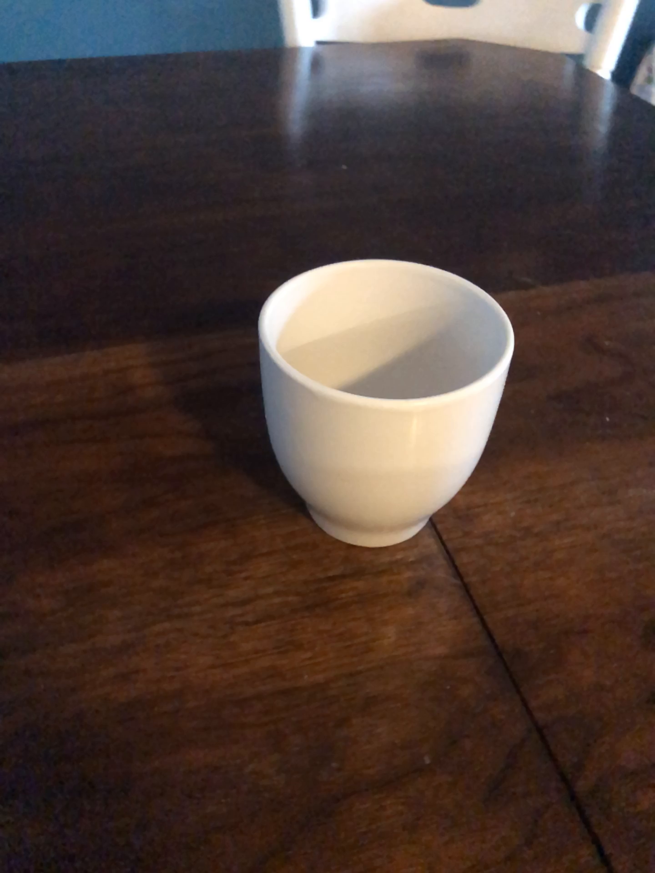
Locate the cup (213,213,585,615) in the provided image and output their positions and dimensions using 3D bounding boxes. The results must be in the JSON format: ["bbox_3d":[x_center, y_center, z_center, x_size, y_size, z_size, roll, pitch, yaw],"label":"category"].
[{"bbox_3d":[0.019,-0.020,0.343,0.110,0.100,0.151,-11,43,-14],"label":"cup"}]
